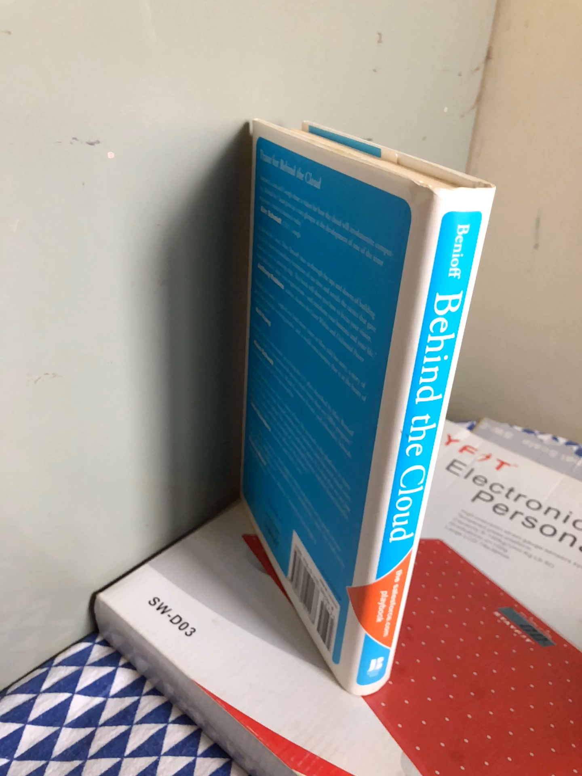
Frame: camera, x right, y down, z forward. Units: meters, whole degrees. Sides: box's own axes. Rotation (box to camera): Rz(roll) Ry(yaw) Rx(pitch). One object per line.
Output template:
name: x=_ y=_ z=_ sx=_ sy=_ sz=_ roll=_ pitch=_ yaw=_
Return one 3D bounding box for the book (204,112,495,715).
book: x=0.006 y=-0.002 z=0.328 sx=0.040 sy=0.239 sz=0.191 roll=-9 pitch=28 yaw=-21
